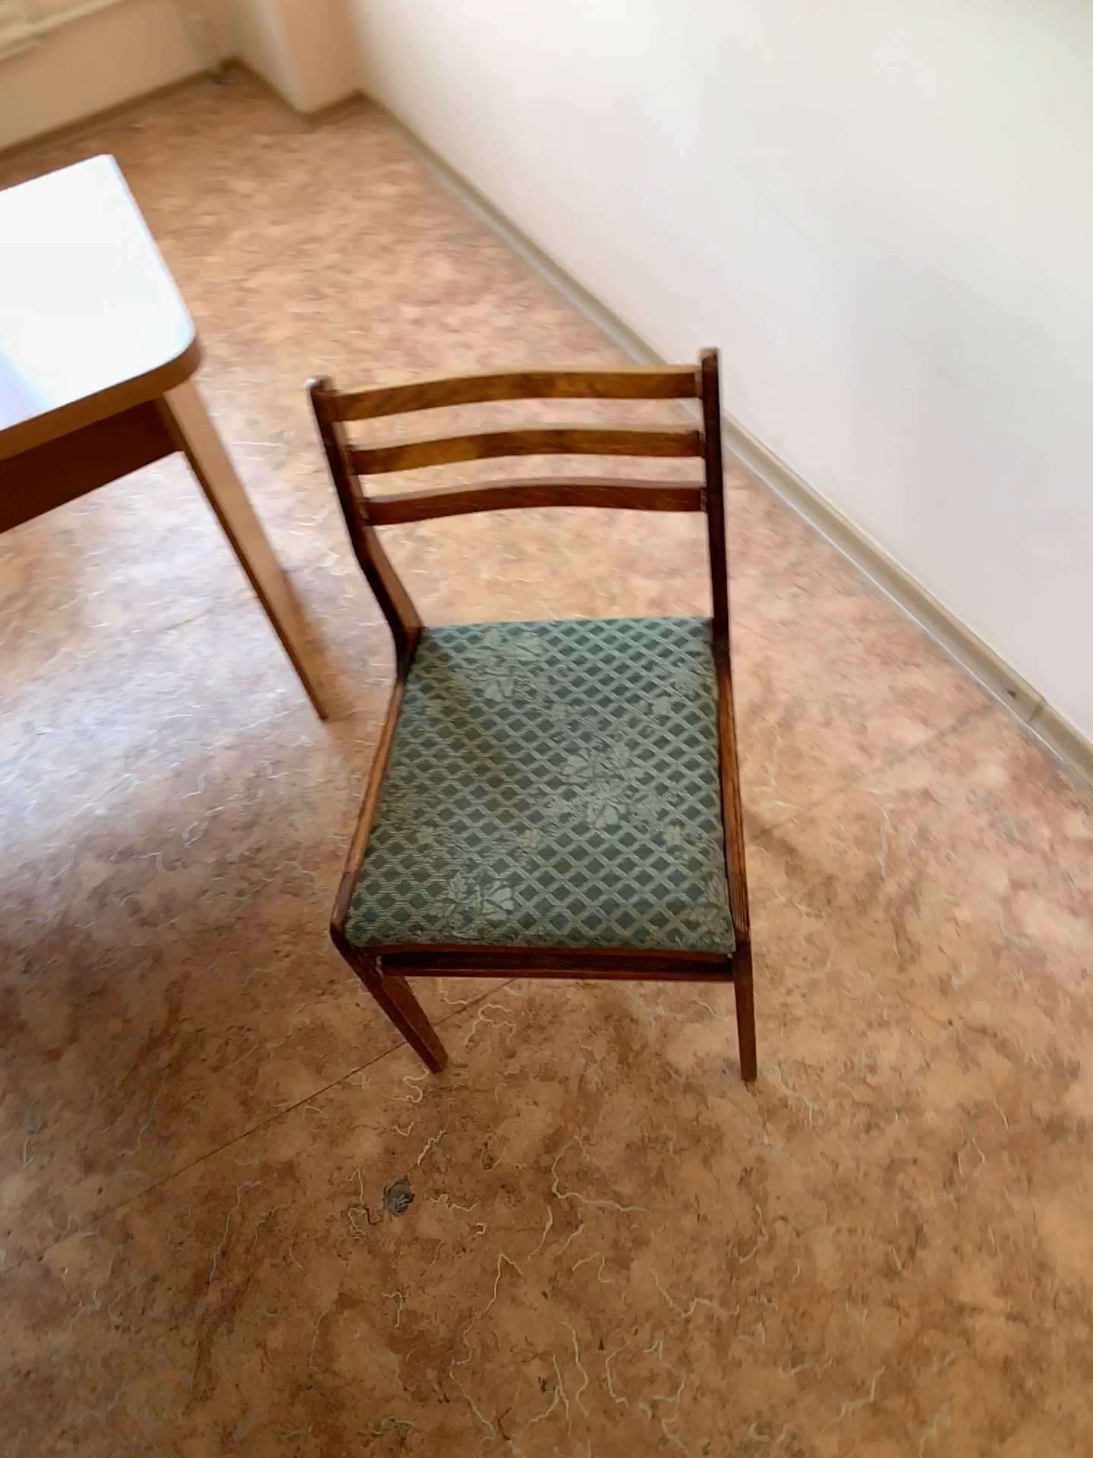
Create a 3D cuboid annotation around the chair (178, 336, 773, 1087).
[{"bbox_3d":[0.009,0.043,1.130,0.400,0.705,0.404,-1,54,9],"label":"chair"}]
